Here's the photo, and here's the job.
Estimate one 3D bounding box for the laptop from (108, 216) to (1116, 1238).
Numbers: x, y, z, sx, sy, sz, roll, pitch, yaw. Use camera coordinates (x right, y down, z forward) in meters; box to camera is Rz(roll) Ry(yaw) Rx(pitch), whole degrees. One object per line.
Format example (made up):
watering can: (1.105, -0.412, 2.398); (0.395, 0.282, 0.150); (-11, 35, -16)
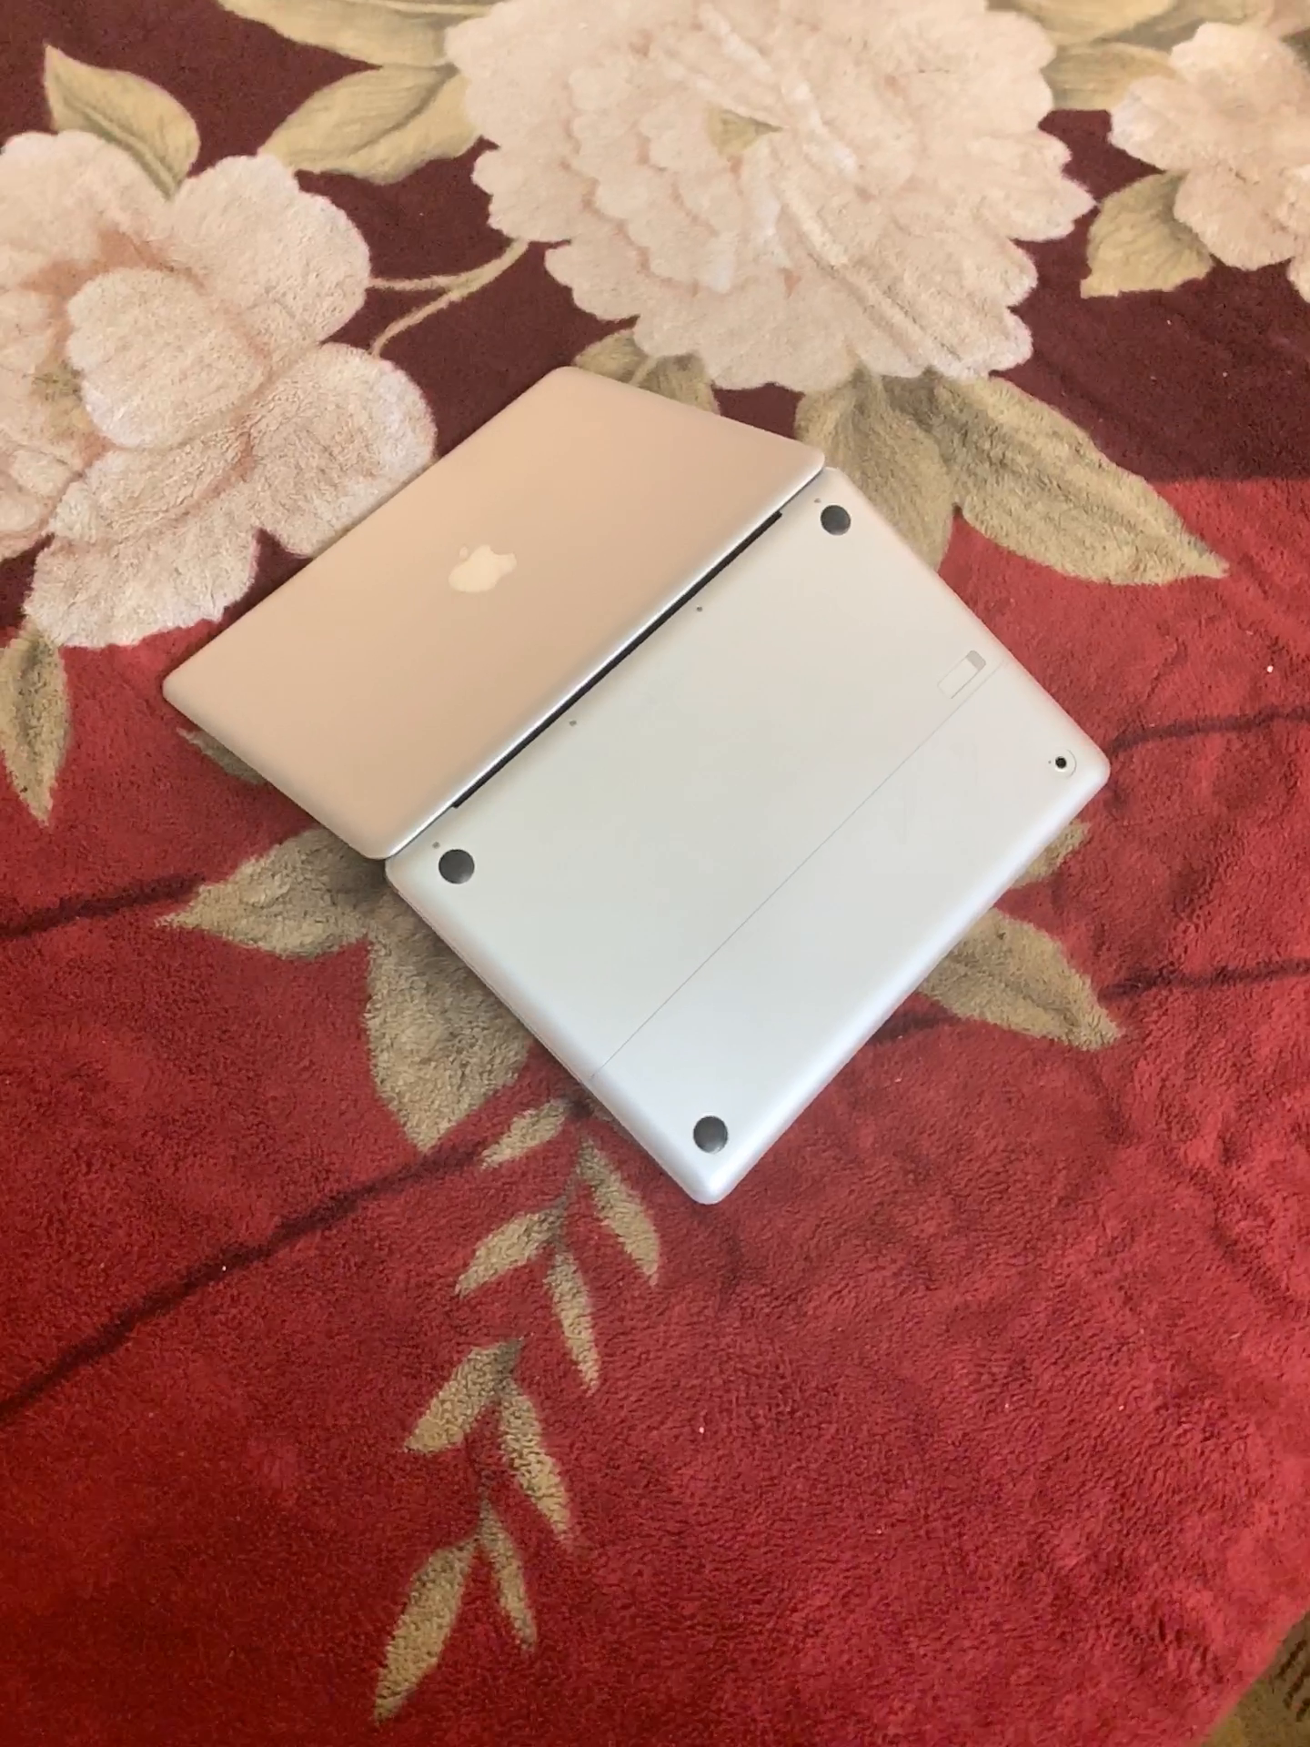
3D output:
laptop: (-0.001, -0.077, 0.686); (0.390, 0.078, 0.316); (46, 73, 0)
